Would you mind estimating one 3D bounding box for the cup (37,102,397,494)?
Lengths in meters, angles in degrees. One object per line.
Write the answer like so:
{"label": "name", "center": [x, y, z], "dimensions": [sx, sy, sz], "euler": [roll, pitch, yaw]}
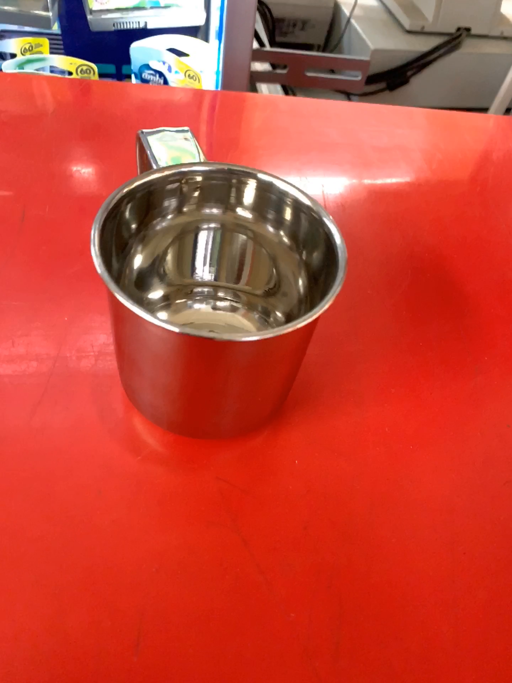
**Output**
{"label": "cup", "center": [-0.022, -0.022, 0.186], "dimensions": [0.079, 0.065, 0.110], "euler": [-12, 54, -18]}
